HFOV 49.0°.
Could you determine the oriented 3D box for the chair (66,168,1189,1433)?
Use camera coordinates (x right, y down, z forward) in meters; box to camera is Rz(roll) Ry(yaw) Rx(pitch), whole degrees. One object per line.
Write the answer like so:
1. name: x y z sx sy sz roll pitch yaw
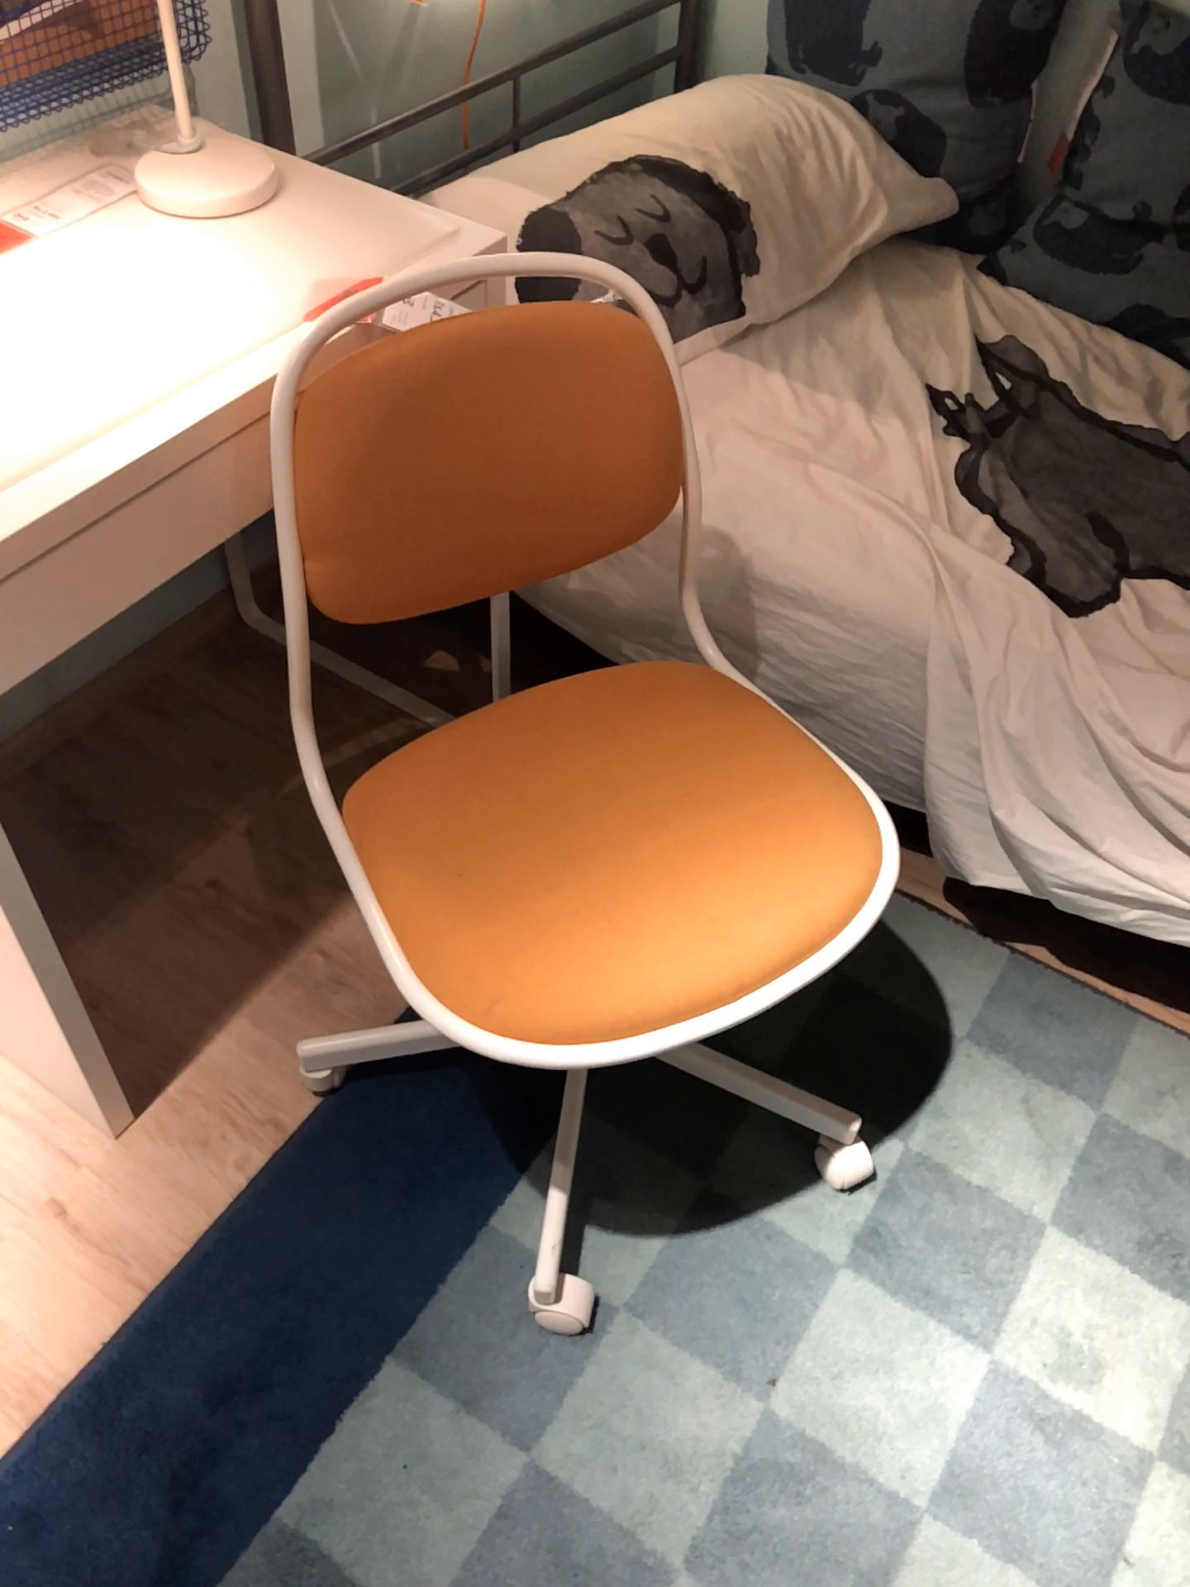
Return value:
1. chair: 0.019 0.018 1.151 0.611 0.795 0.563 -22 53 -21
